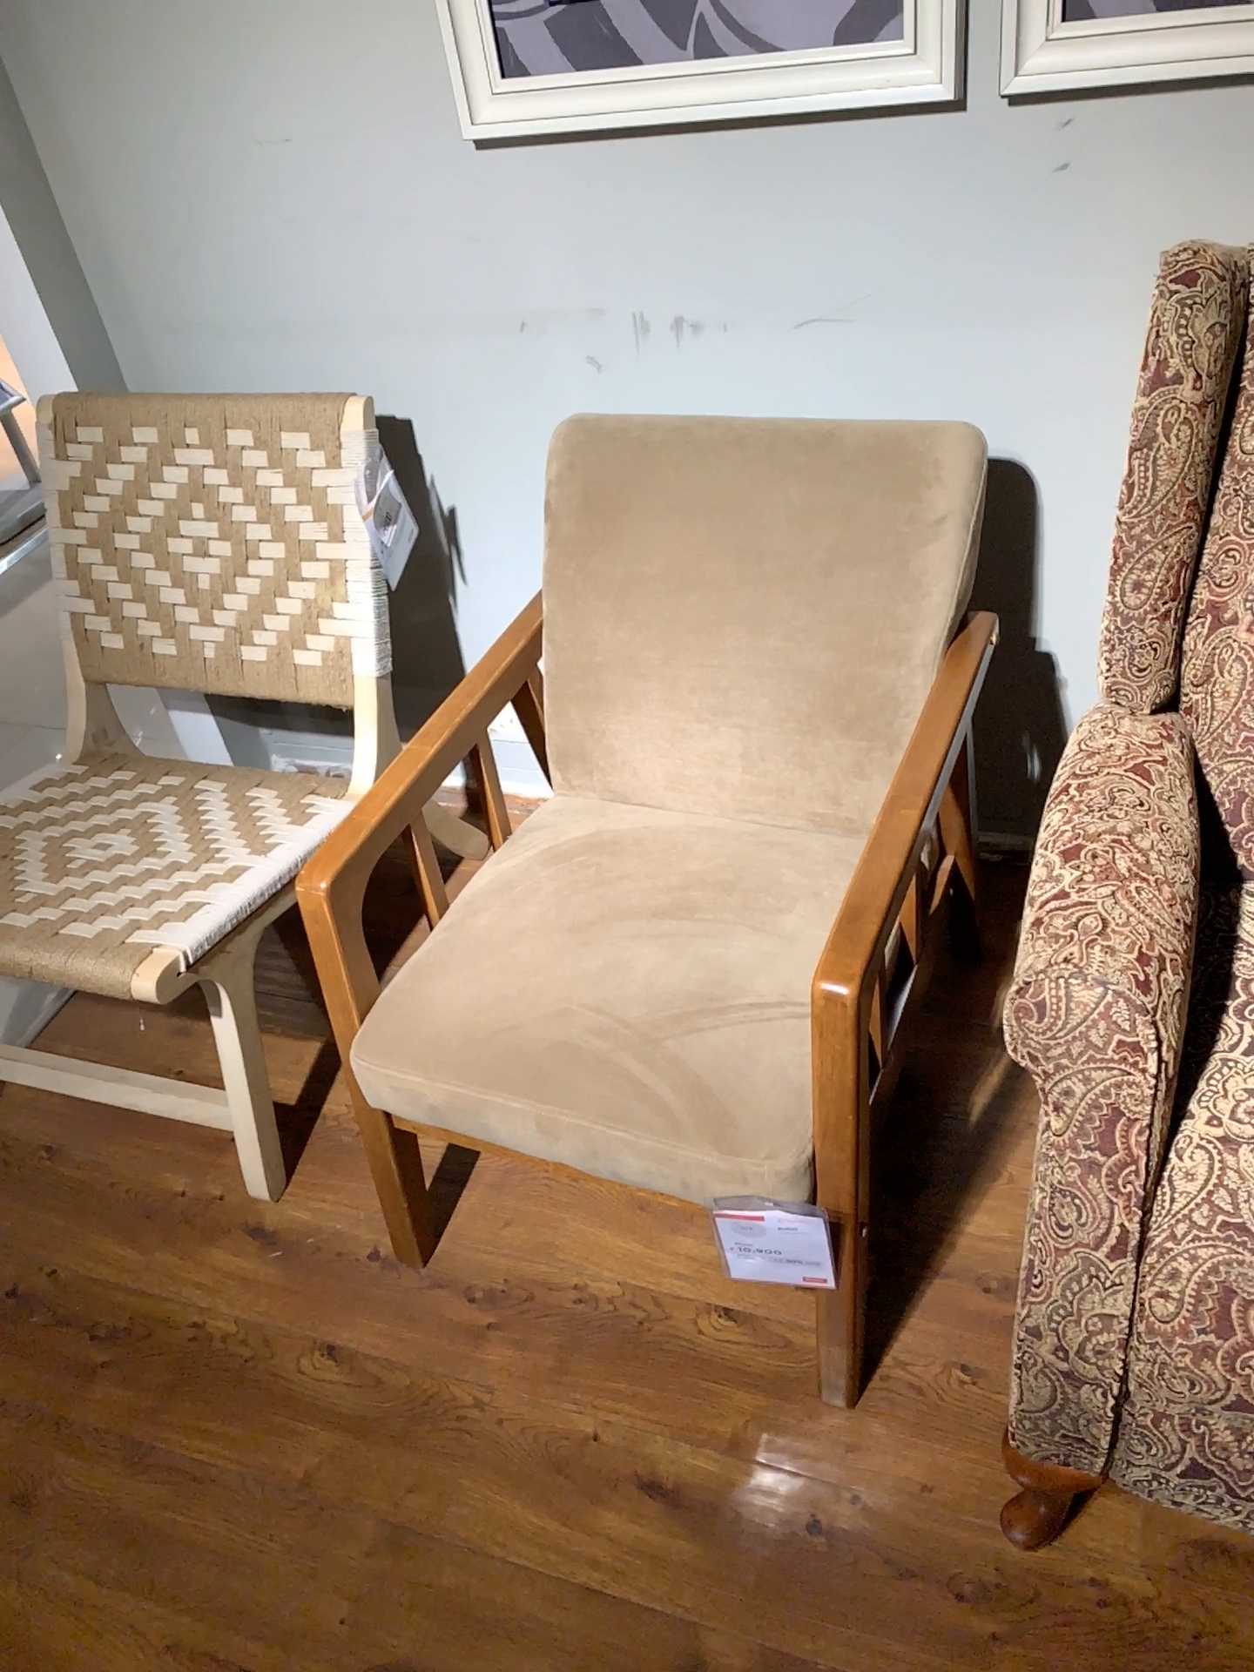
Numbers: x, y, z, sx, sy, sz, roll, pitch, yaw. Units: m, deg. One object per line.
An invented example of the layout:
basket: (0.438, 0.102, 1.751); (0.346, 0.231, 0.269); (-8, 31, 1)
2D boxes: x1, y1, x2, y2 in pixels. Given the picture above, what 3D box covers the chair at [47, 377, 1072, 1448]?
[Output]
chair: (0.048, 0.008, 1.483); (0.721, 0.737, 0.872); (9, 43, 22)
